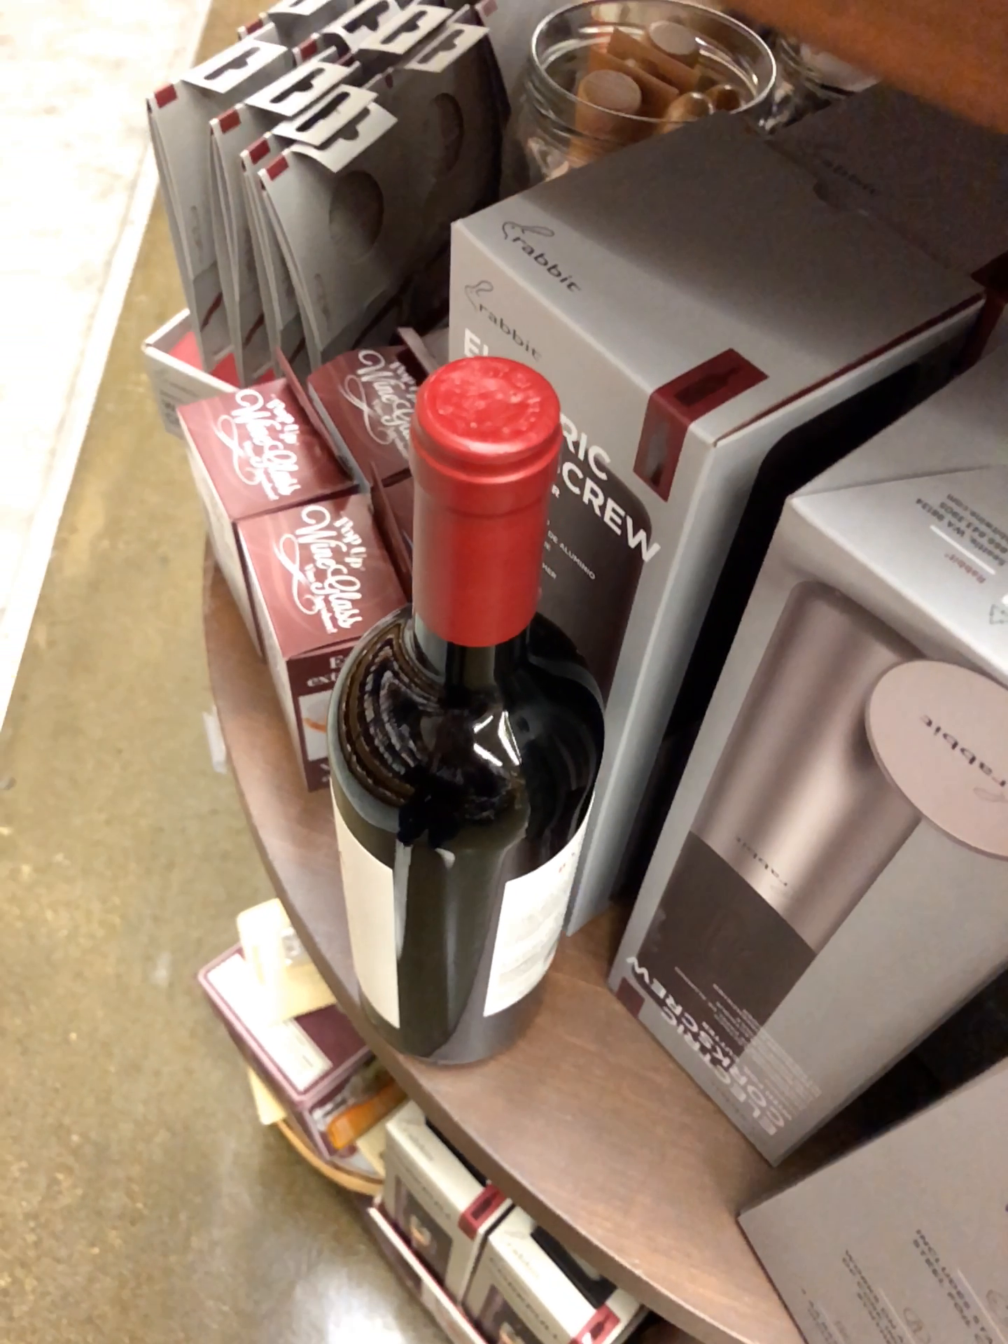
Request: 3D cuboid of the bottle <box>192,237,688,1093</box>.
[{"bbox_3d":[-0.013,0.032,0.320,0.072,0.285,0.076,1,54,-2],"label":"bottle"}]
